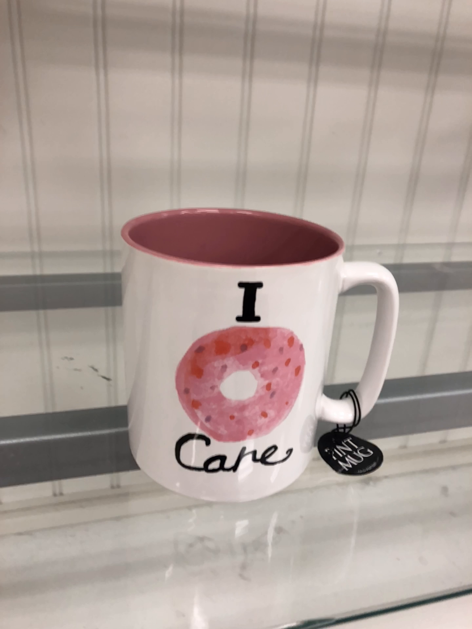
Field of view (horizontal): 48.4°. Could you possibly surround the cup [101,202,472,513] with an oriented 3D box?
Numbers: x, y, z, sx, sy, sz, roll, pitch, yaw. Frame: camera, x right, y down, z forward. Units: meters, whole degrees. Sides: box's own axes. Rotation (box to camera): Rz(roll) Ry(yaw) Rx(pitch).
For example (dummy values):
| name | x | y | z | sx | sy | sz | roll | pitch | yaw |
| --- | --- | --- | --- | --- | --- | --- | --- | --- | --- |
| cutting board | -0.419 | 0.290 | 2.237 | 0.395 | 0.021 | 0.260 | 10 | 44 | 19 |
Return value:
| name | x | y | z | sx | sy | sz | roll | pitch | yaw |
| --- | --- | --- | --- | --- | --- | --- | --- | --- | --- |
| cup | 0.013 | 0.014 | 0.258 | 0.137 | 0.112 | 0.101 | 1 | 23 | -6 |
